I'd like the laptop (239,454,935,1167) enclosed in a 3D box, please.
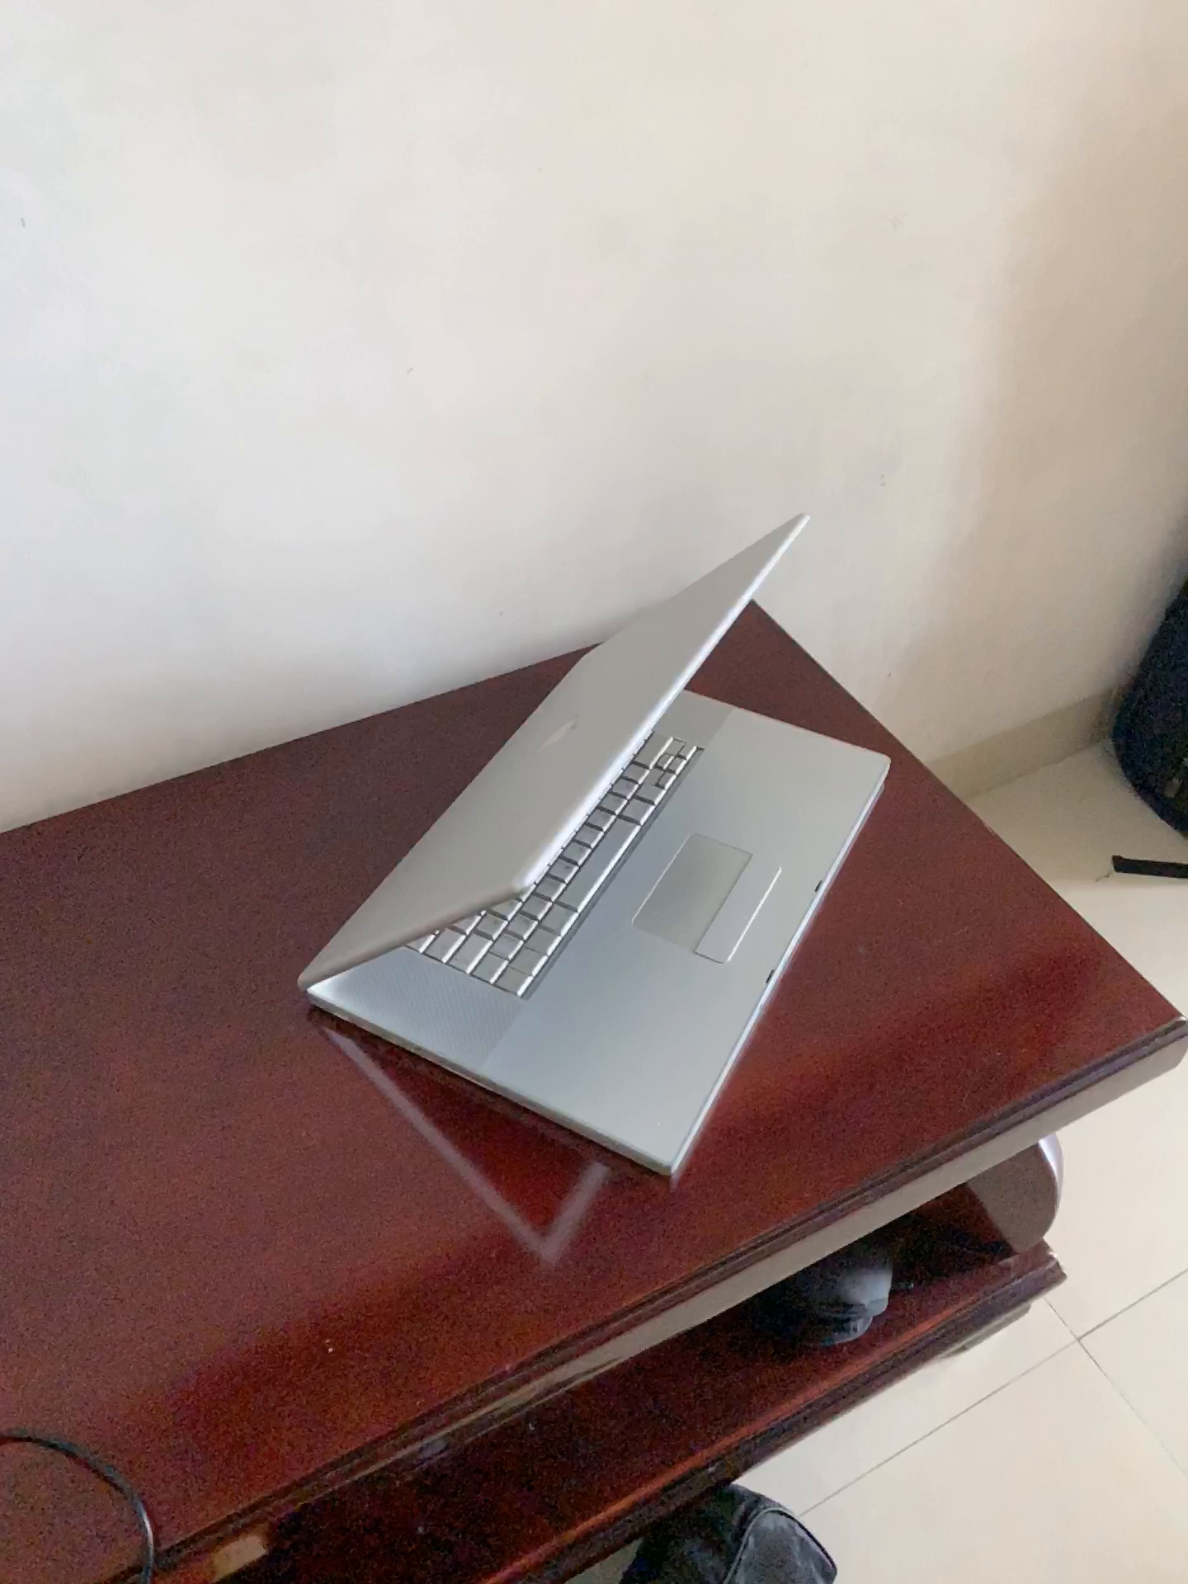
[{"bbox_3d":[0.022,-0.019,0.804,0.265,0.193,0.401,20,47,19],"label":"laptop"}]
